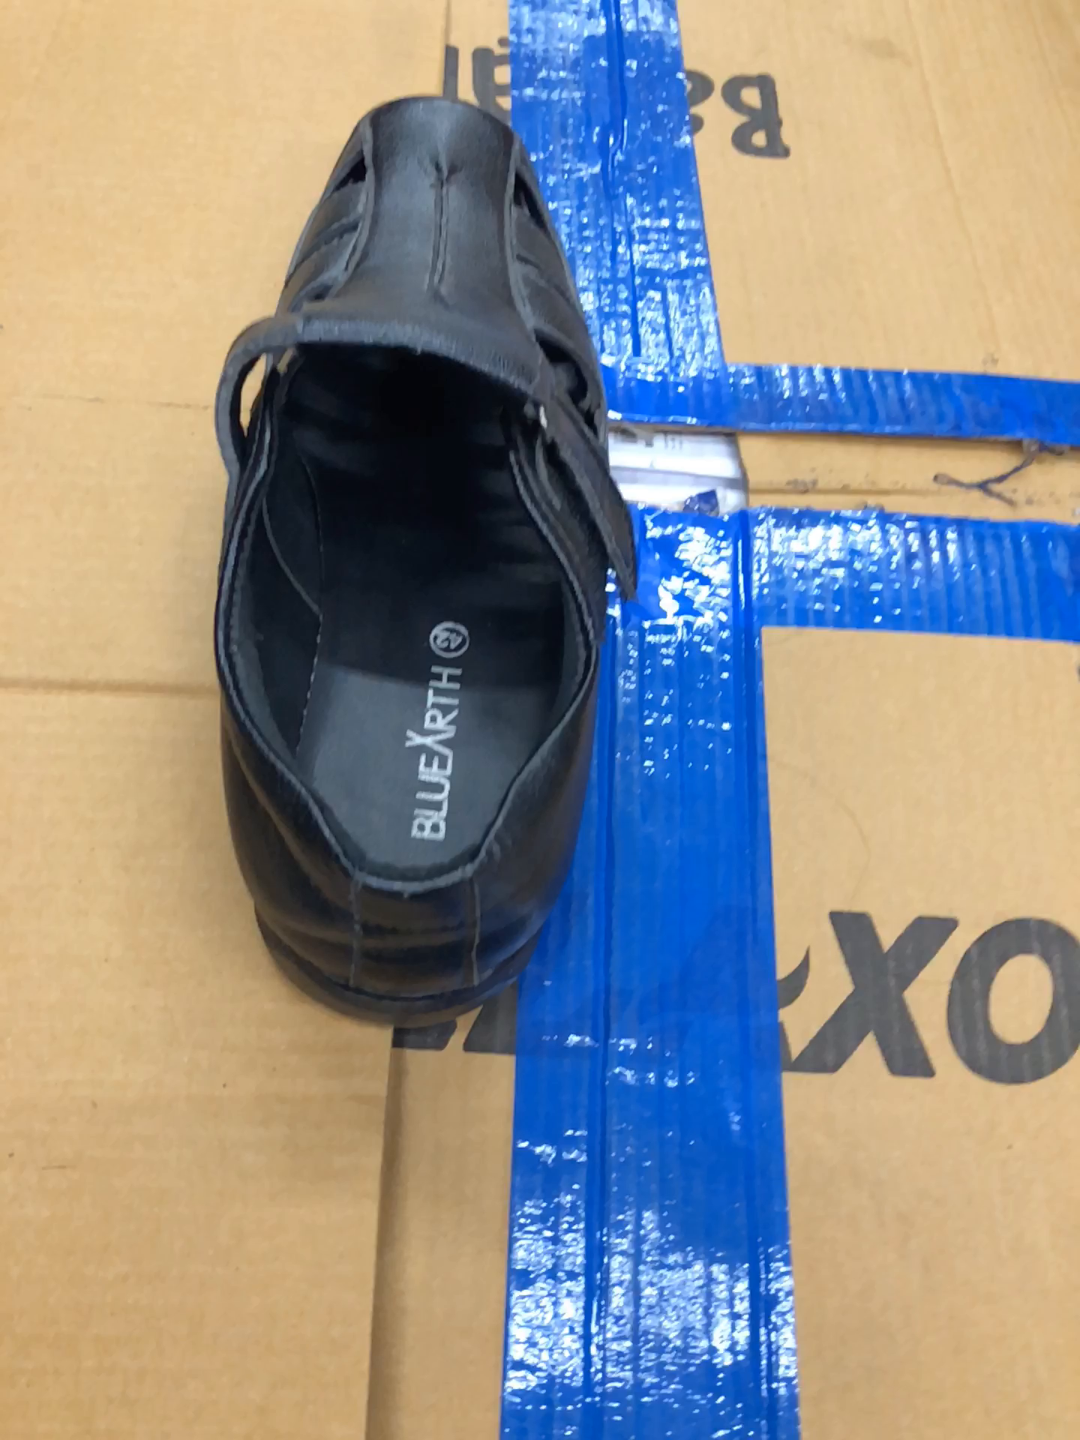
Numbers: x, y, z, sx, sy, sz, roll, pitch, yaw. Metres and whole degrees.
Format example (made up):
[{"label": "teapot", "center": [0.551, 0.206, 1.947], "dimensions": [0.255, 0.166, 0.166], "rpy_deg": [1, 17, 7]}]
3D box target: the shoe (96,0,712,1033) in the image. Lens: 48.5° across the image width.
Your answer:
[{"label": "shoe", "center": [-0.029, -0.083, 0.306], "dimensions": [0.100, 0.100, 0.301], "rpy_deg": [1, 64, -6]}]
